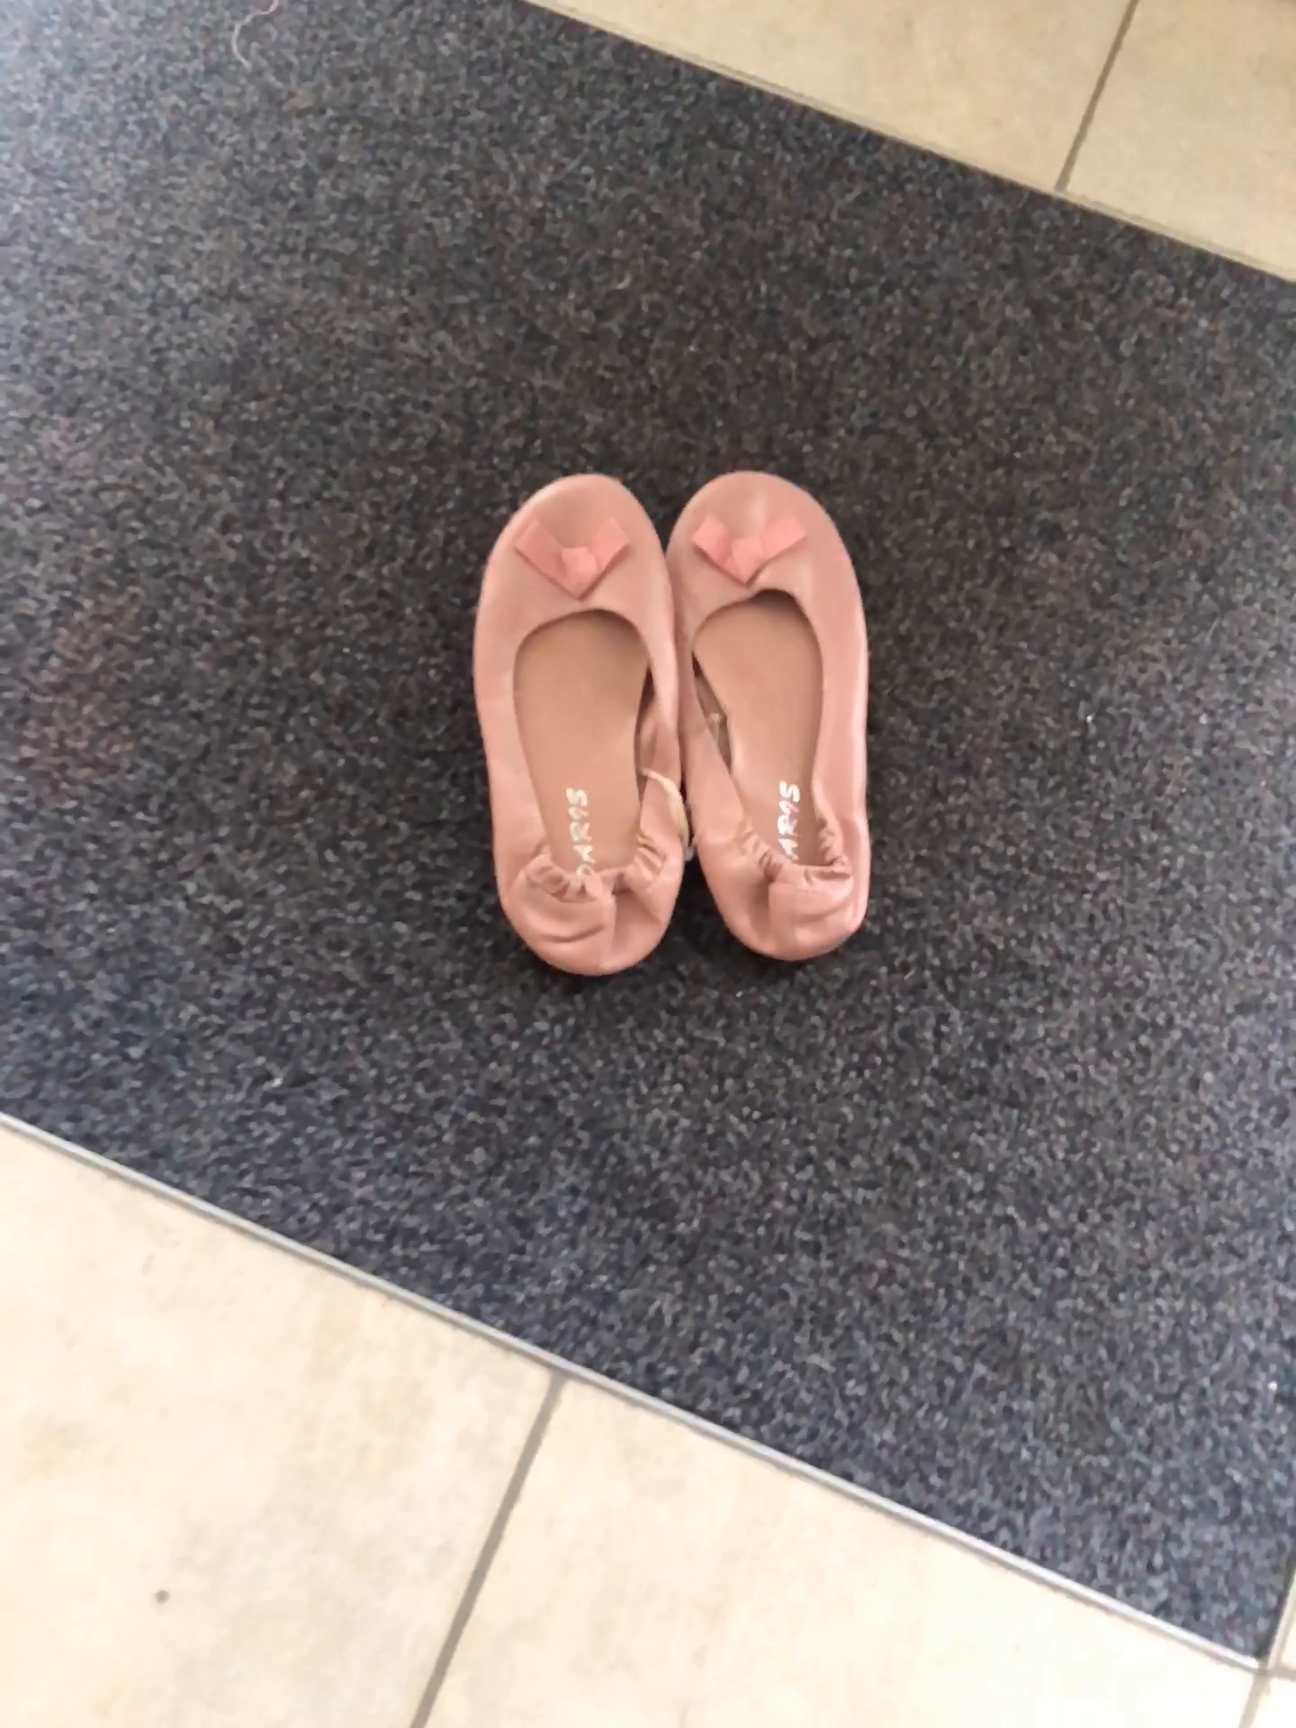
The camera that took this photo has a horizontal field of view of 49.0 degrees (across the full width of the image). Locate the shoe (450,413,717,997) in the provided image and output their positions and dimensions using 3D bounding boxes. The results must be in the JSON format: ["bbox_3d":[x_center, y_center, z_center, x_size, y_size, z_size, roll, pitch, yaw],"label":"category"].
[{"bbox_3d":[-0.029,-0.066,0.630,0.090,0.100,0.230,-5,77,-2],"label":"shoe"}]

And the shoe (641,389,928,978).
[{"bbox_3d":[0.053,-0.075,0.626,0.090,0.100,0.230,-5,77,-2],"label":"shoe"}]
